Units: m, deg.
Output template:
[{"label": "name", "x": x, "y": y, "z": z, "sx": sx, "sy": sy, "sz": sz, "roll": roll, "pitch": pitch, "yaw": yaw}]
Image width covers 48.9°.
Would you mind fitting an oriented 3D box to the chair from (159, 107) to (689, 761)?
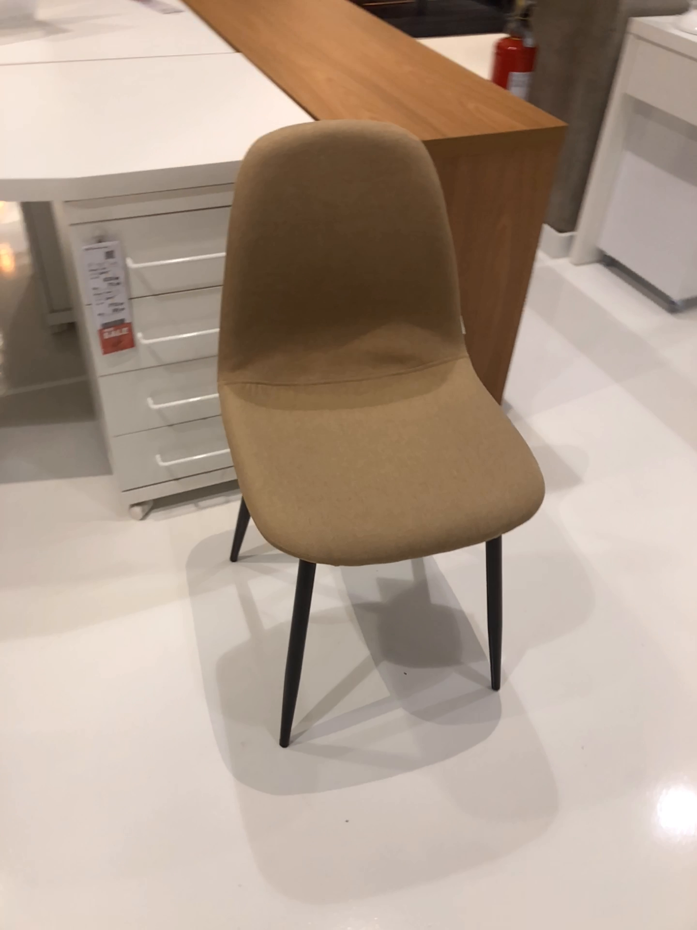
[{"label": "chair", "x": 0.030, "y": -0.044, "z": 1.178, "sx": 0.480, "sy": 0.784, "sz": 0.523, "roll": -10, "pitch": 43, "yaw": -15}]
